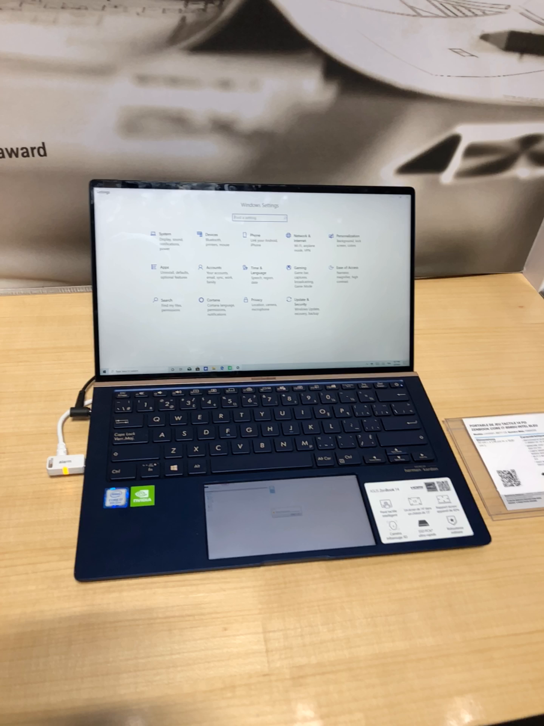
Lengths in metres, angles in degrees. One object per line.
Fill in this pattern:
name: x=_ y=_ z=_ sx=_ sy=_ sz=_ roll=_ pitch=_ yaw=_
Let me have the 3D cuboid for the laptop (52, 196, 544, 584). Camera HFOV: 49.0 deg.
laptop: x=0.011 y=-0.008 z=0.544 sx=0.332 sy=0.159 sz=0.322 roll=-2 pitch=41 yaw=-9
